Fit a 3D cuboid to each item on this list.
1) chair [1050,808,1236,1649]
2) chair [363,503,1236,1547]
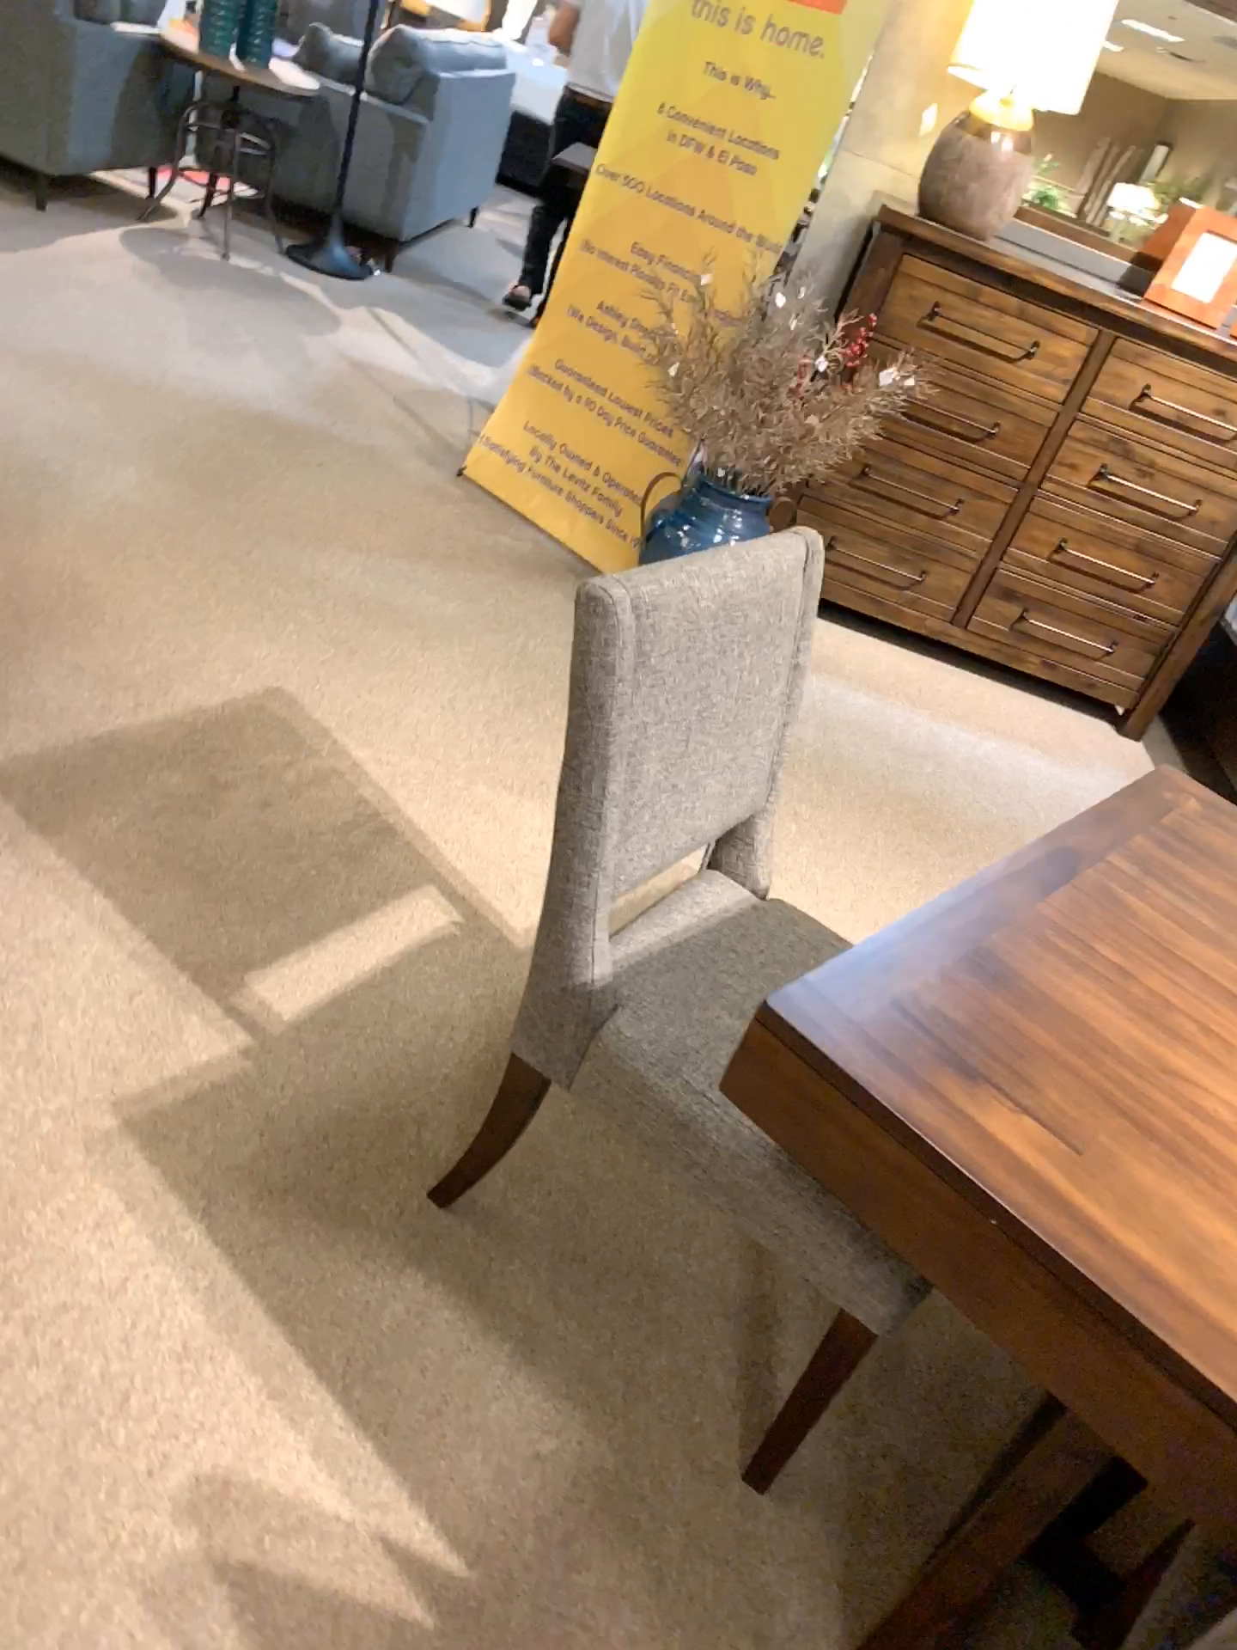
[{"bbox_3d":[1.024,0.535,1.434,0.480,0.863,0.633,38,35,25],"label":"chair"},{"bbox_3d":[0.191,0.199,1.438,0.631,0.863,0.481,34,34,20],"label":"chair"}]
